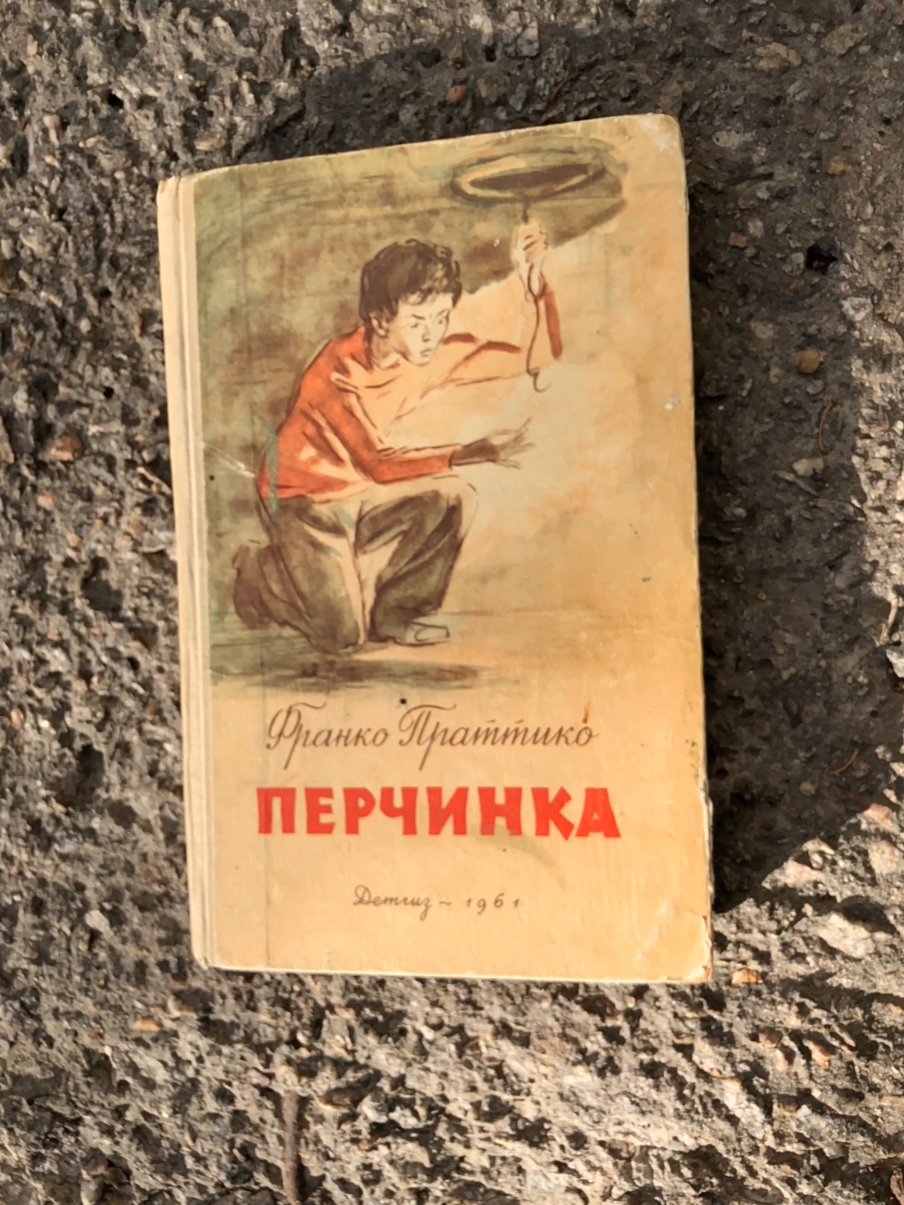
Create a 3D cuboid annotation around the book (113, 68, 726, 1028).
[{"bbox_3d":[-0.007,-0.009,0.240,0.132,0.030,0.203,-2,91,9],"label":"book"}]
